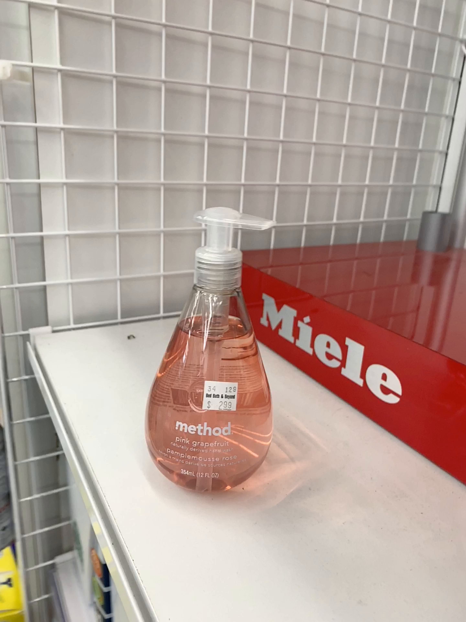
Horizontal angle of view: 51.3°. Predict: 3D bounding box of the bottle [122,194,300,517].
[{"bbox_3d":[-0.011,0.021,0.279,0.080,0.160,0.078,3,18,-1],"label":"bottle"}]
